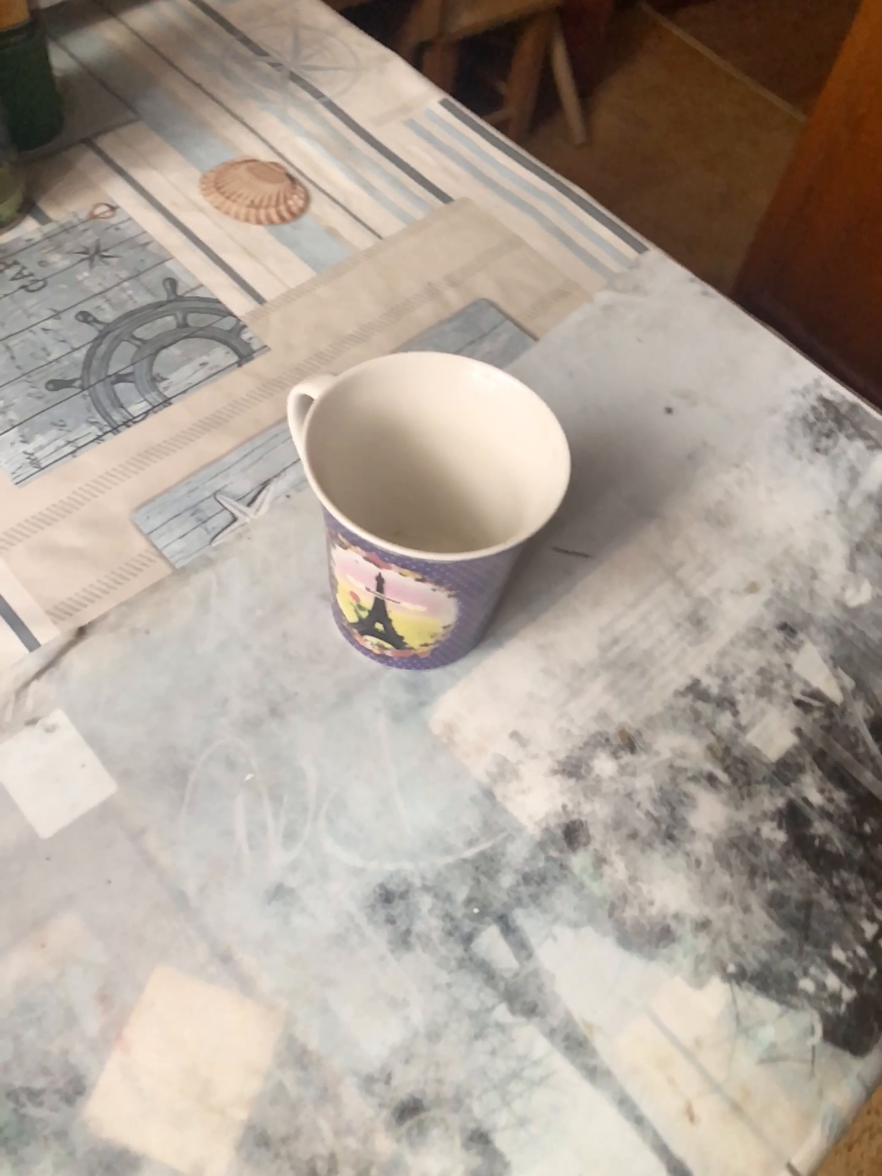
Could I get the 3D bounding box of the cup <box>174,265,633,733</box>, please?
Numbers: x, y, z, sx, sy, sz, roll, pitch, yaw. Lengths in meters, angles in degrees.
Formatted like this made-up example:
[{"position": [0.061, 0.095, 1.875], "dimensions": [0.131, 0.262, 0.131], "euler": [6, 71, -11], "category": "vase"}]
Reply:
[{"position": [-0.015, -0.033, 0.353], "dimensions": [0.120, 0.085, 0.090], "euler": [36, 61, 15], "category": "cup"}]
